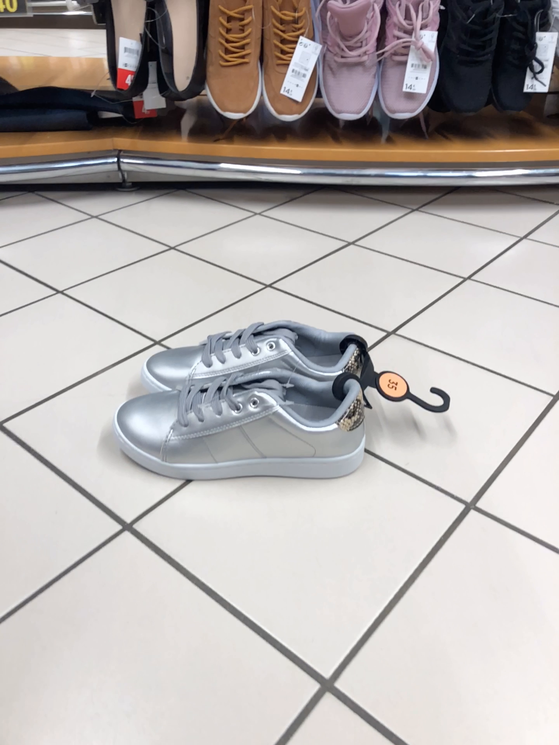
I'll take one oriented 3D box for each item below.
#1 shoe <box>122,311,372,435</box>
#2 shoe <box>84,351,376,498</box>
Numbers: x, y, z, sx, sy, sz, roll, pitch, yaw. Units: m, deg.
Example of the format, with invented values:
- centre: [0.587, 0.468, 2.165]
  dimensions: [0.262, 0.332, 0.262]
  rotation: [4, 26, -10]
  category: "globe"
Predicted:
- centre: [-0.030, -0.001, 0.626]
  dimensions: [0.230, 0.089, 0.091]
  rotation: [0, 34, -1]
  category: "shoe"
- centre: [-0.039, 0.045, 0.545]
  dimensions: [0.230, 0.089, 0.091]
  rotation: [1, 34, 0]
  category: "shoe"
